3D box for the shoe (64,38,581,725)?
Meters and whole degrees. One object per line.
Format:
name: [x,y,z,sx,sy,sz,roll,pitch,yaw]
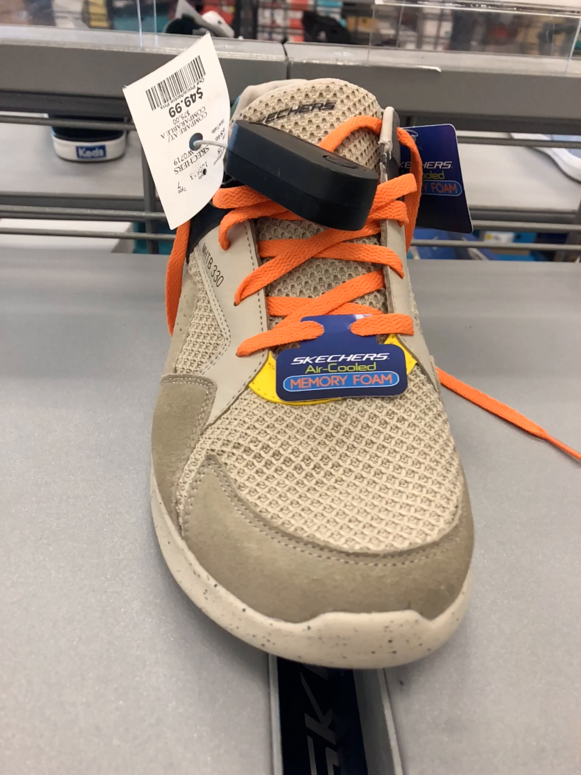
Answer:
shoe: [0.001,-0.042,0.257,0.125,0.109,0.282,-1,40,-9]
